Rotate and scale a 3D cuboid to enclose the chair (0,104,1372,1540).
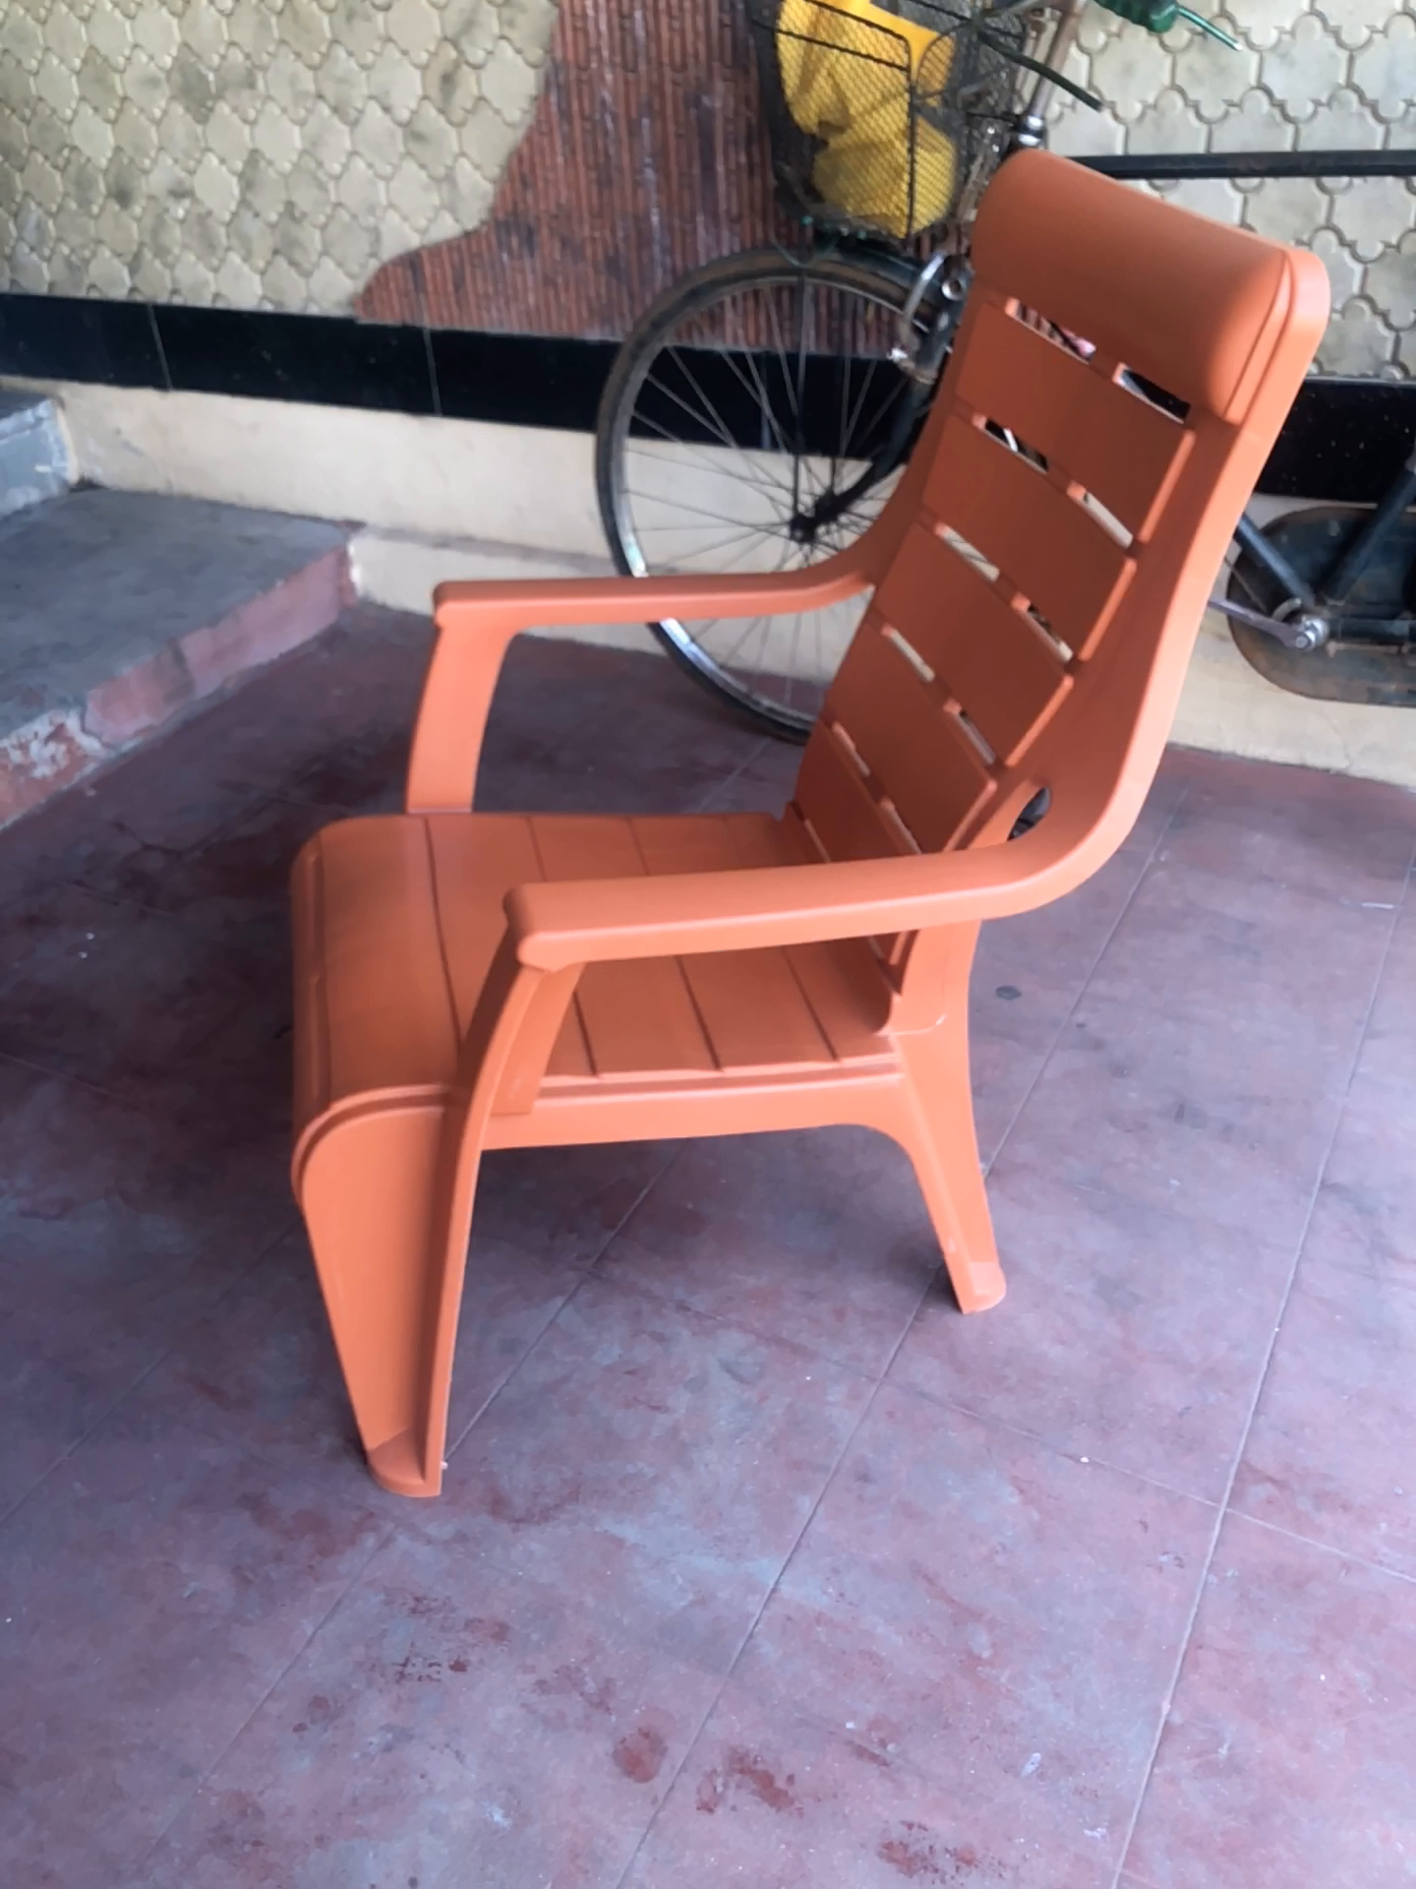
[{"bbox_3d":[-0.076,-0.149,1.248,0.761,0.786,0.693,-11,35,-8],"label":"chair"}]
